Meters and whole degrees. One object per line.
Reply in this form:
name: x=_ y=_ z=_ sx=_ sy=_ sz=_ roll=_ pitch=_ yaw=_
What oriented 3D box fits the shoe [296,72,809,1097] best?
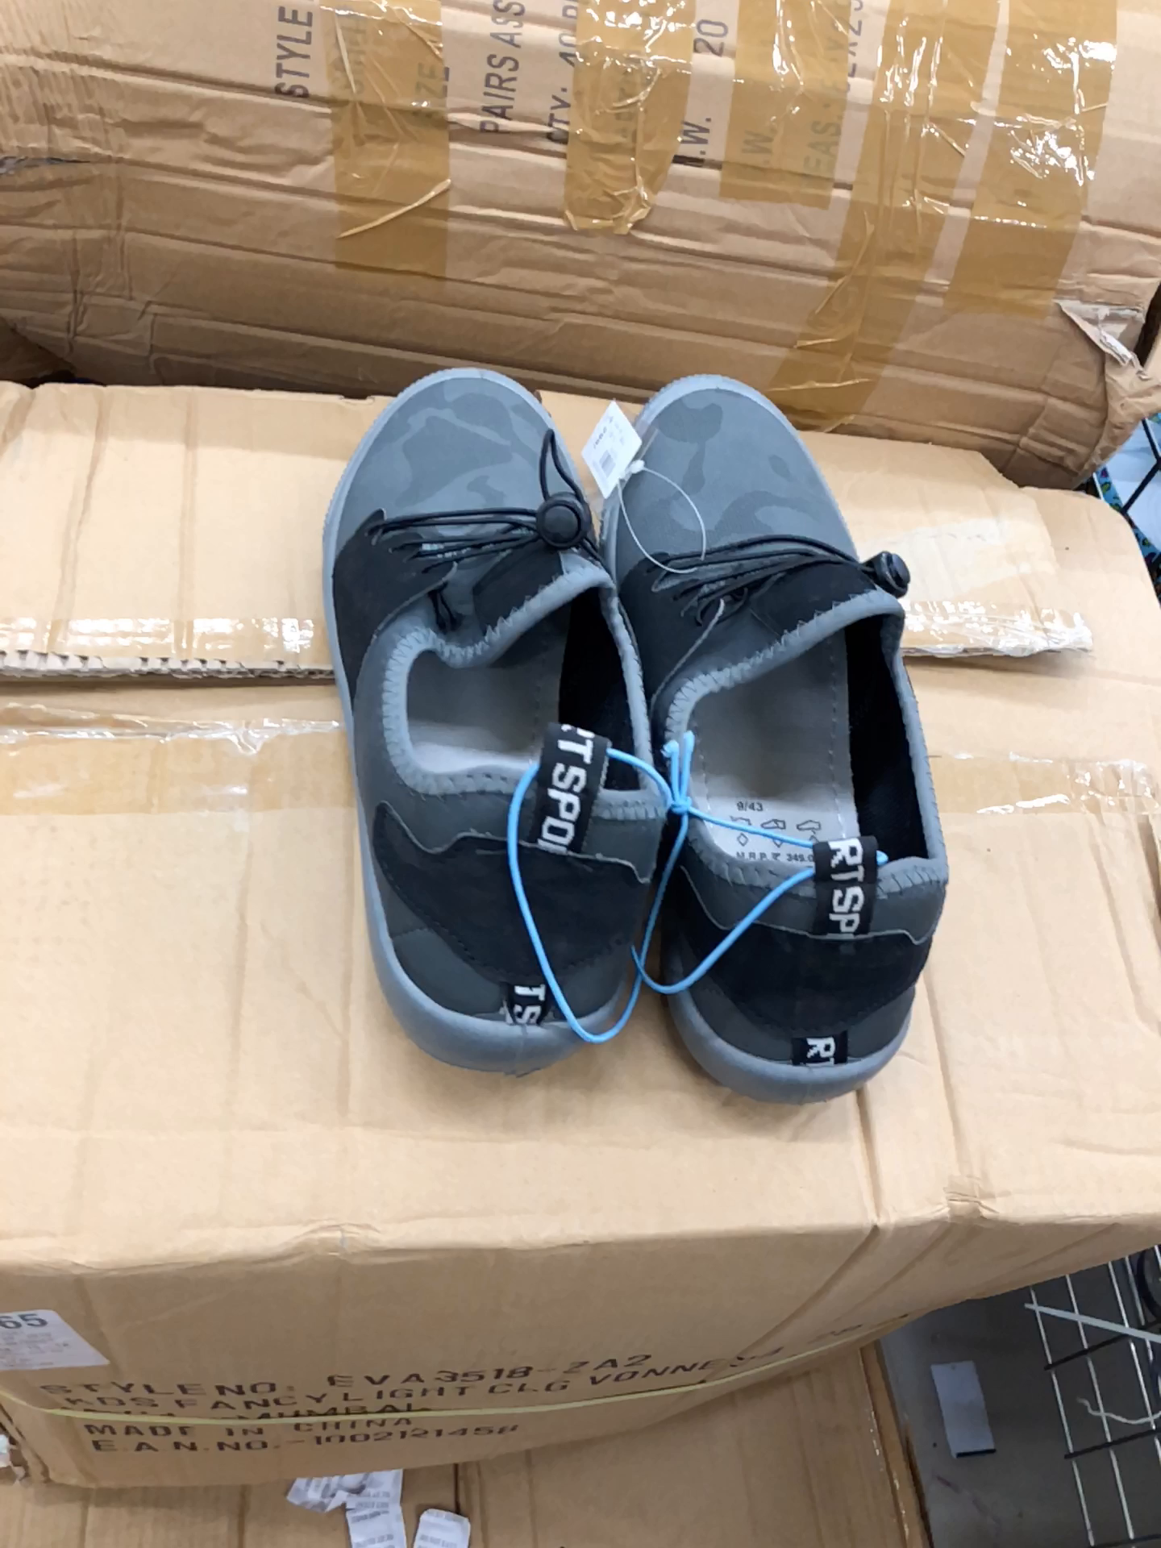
shoe: x=-0.035 y=-0.070 z=0.420 sx=0.110 sy=0.149 sz=0.302 roll=0 pitch=55 yaw=-13

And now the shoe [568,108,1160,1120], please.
shoe: x=0.071 y=-0.060 z=0.407 sx=0.110 sy=0.129 sz=0.302 roll=3 pitch=55 yaw=-11
